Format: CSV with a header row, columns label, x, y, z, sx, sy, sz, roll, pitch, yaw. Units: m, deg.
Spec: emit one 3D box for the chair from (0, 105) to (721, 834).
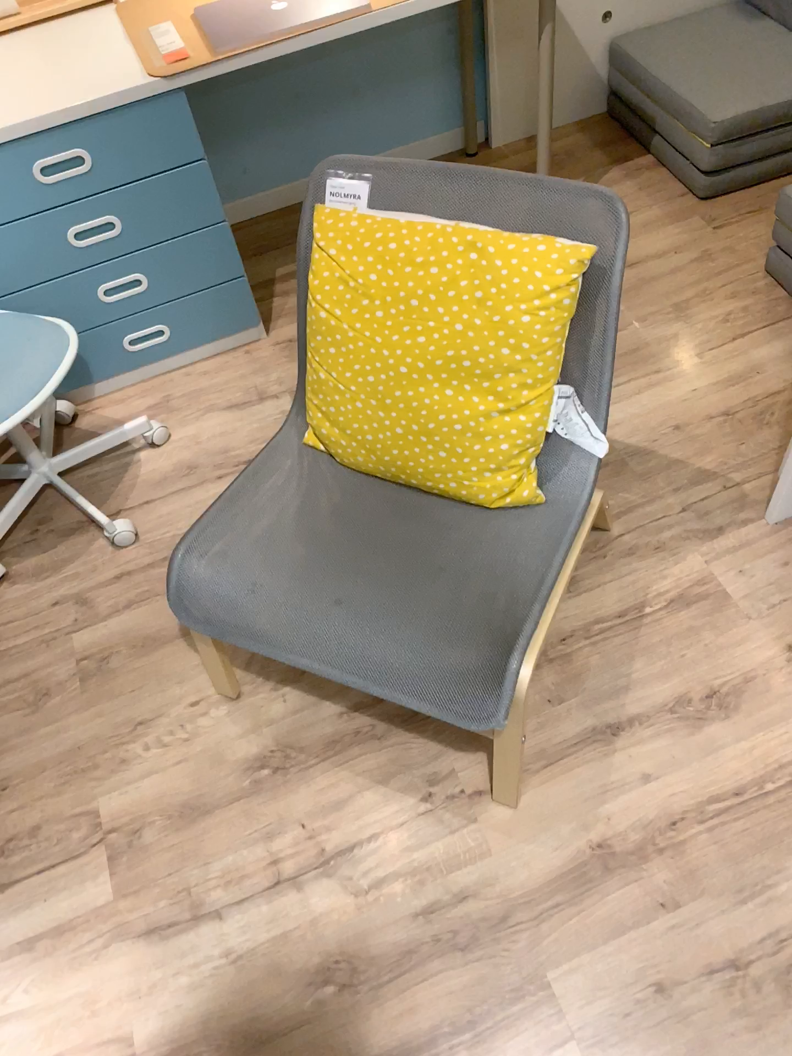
label,x,y,z,sx,sy,sz,roll,pitch,yaw
chair,0.027,-0.089,1.204,0.631,0.708,0.671,15,57,20
